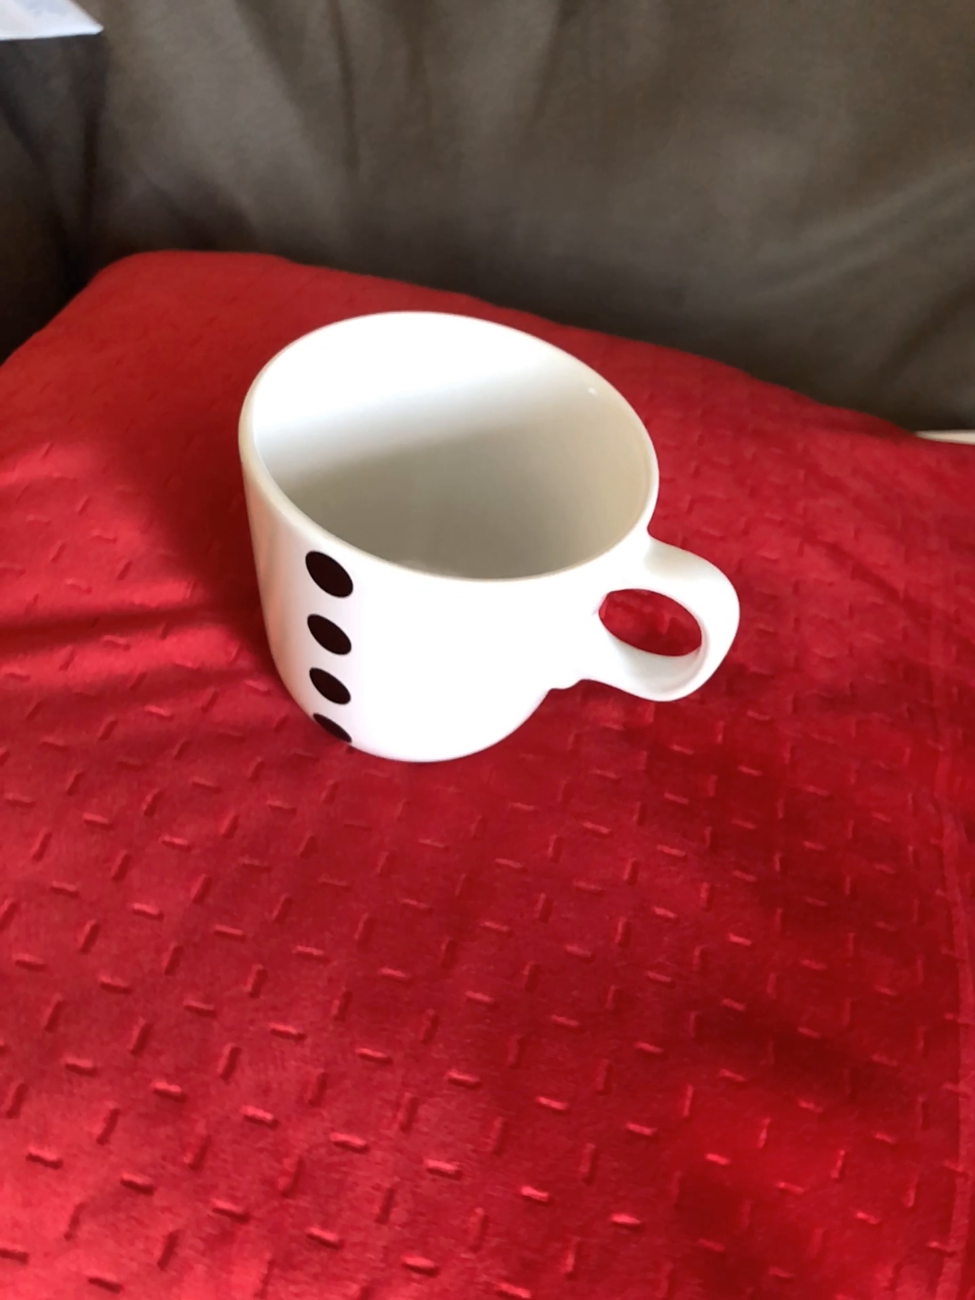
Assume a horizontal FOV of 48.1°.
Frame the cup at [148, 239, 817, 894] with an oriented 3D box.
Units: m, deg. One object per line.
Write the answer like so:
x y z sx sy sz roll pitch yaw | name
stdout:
-0.002 -0.020 0.246 0.110 0.080 0.080 24 49 10 | cup
